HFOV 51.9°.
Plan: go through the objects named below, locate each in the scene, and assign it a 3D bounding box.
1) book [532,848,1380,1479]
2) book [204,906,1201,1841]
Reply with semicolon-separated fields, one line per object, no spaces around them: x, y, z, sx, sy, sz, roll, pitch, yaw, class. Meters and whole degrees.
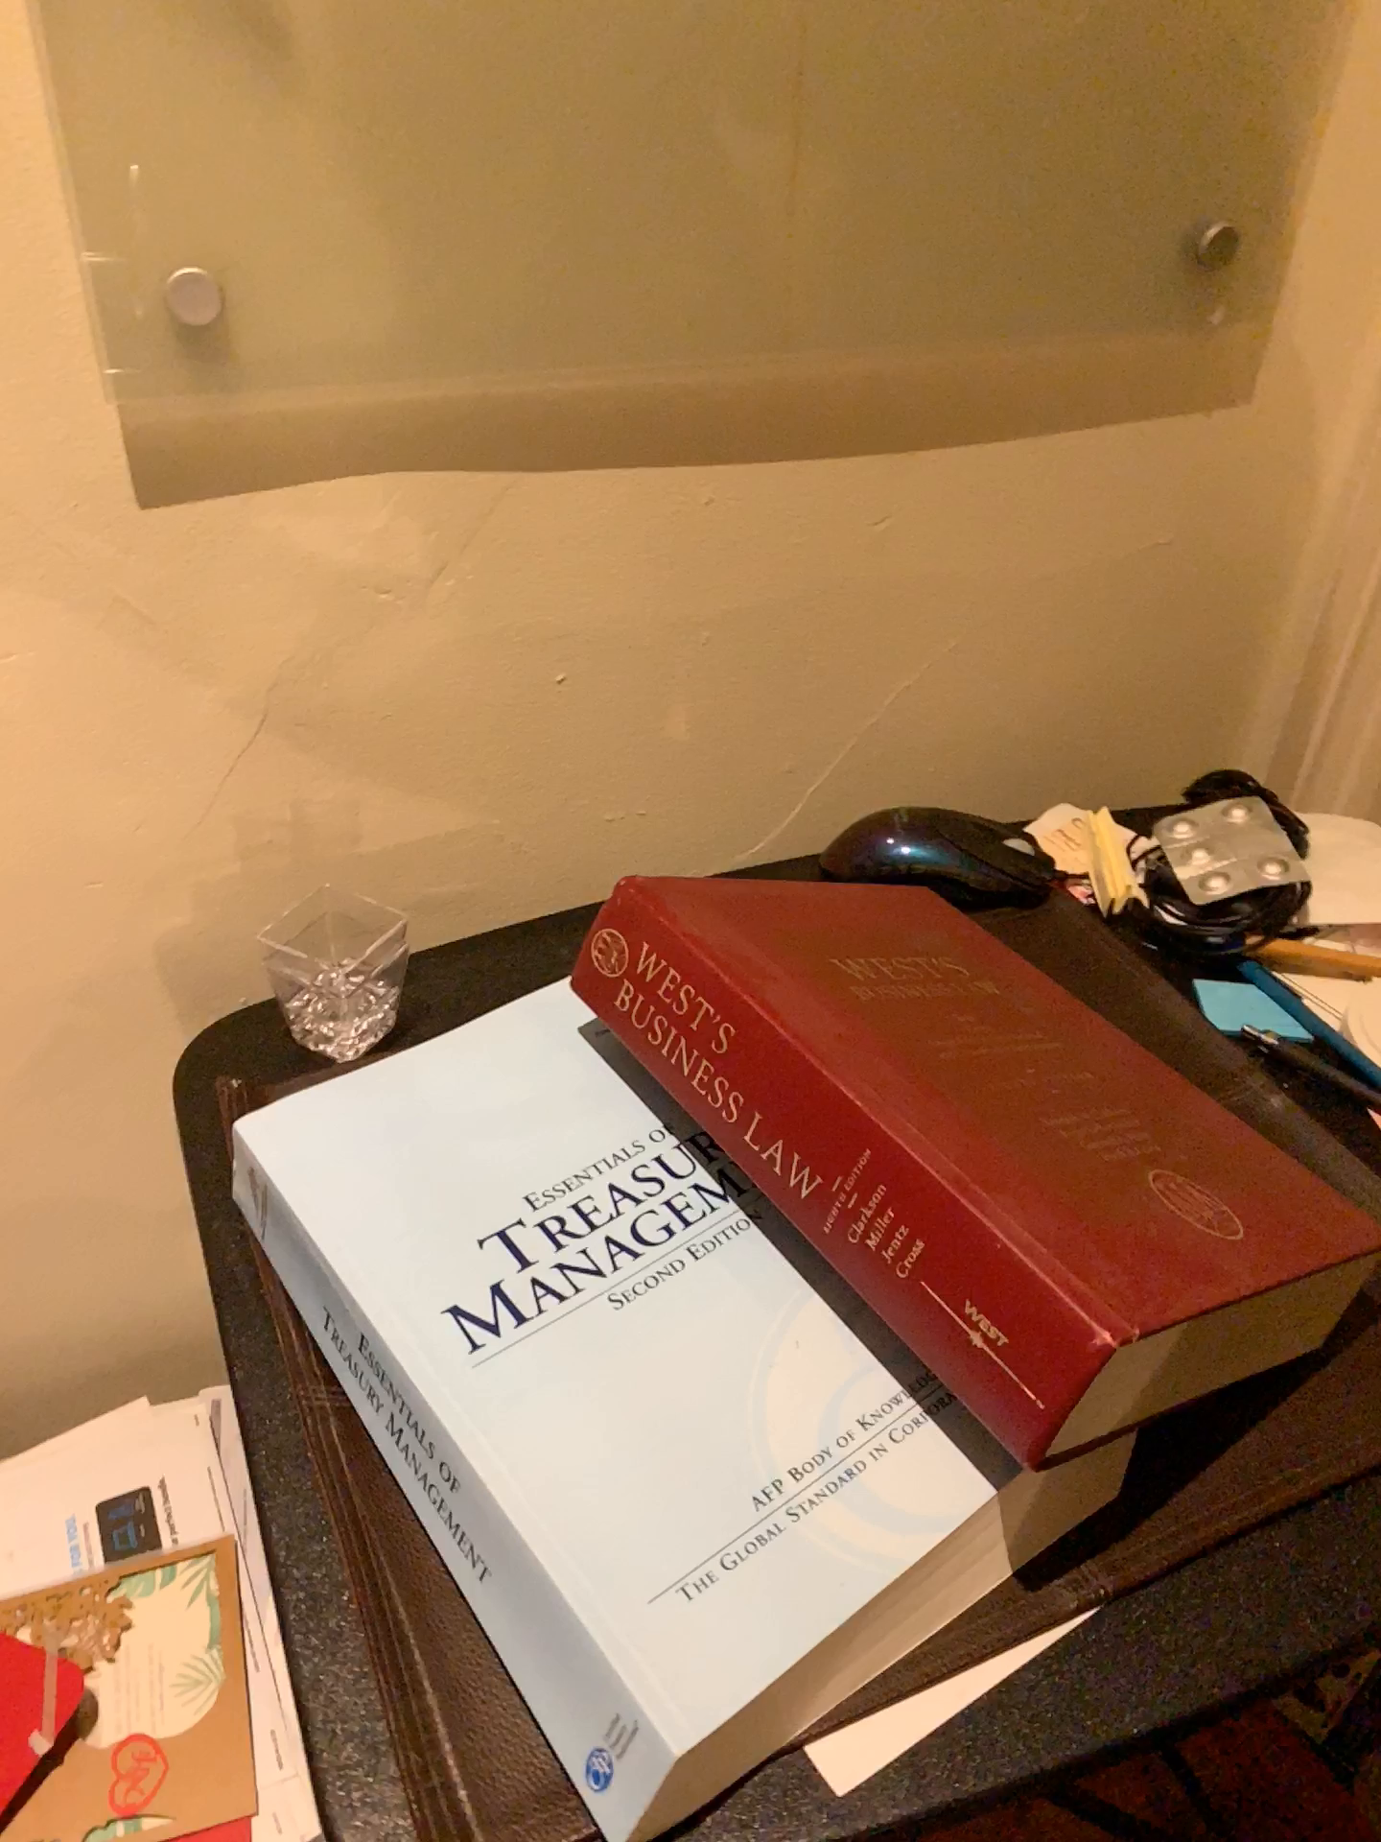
0.101;0.067;0.544;0.210;0.050;0.271;3;29;-44;book
-0.009;0.127;0.499;0.220;0.070;0.271;-21;44;-29;book
